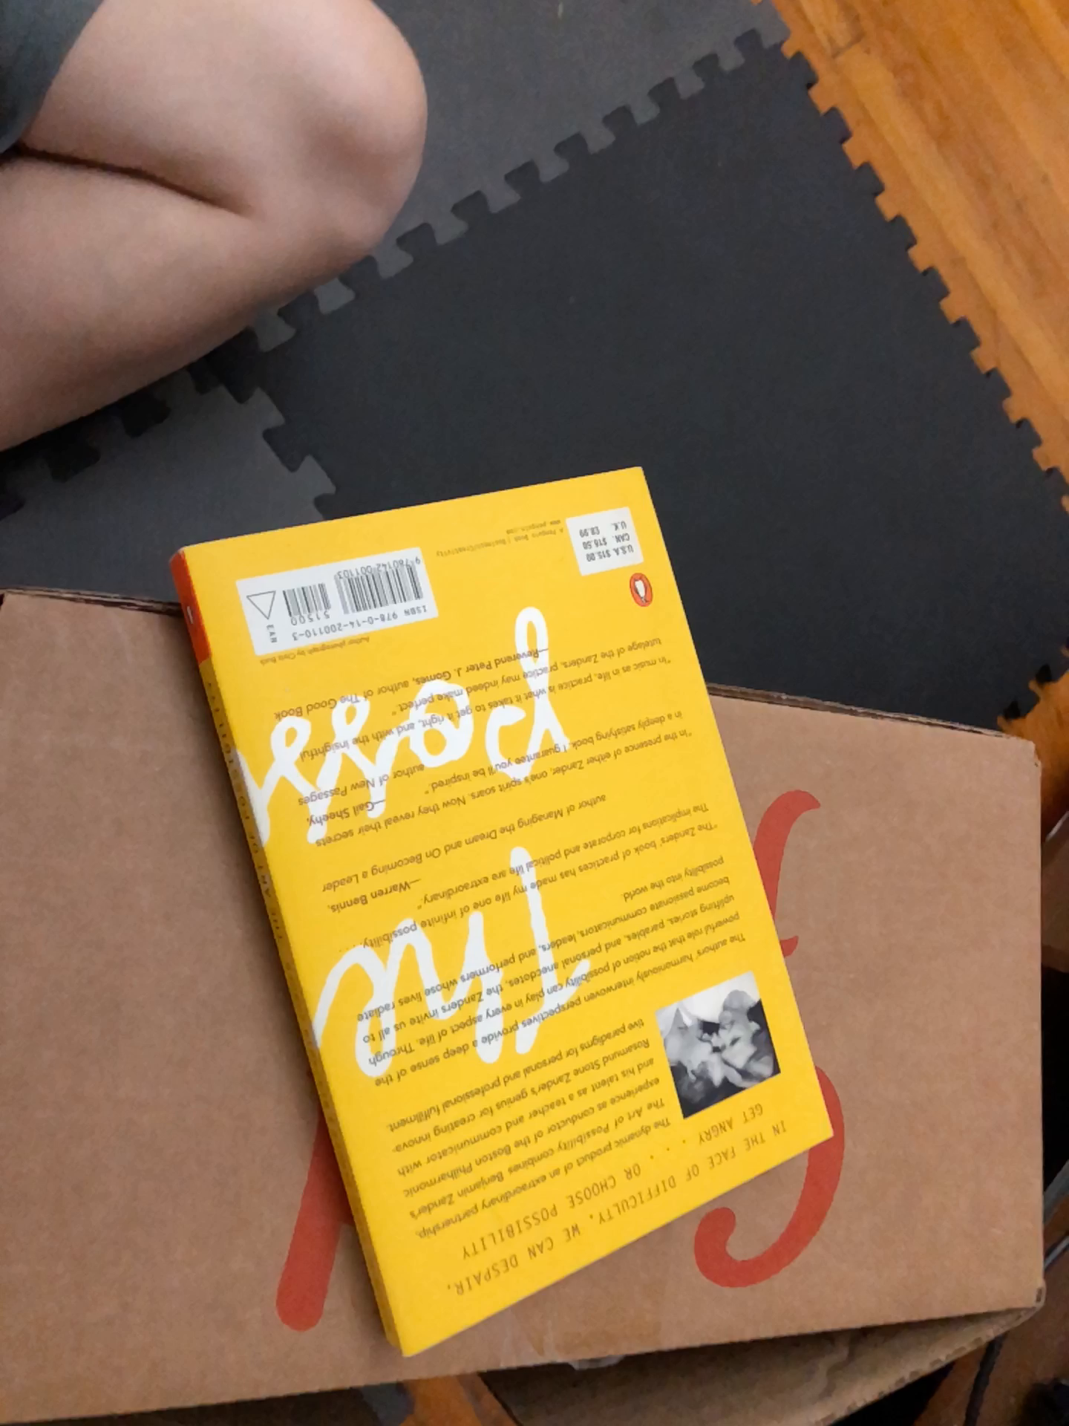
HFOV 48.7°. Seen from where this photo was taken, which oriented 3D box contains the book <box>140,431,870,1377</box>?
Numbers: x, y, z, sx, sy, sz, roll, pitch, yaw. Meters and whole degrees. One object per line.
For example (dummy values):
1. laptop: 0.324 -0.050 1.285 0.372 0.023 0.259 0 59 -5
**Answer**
1. book: -0.001 0.038 0.321 0.150 0.020 0.210 -16 89 -26
